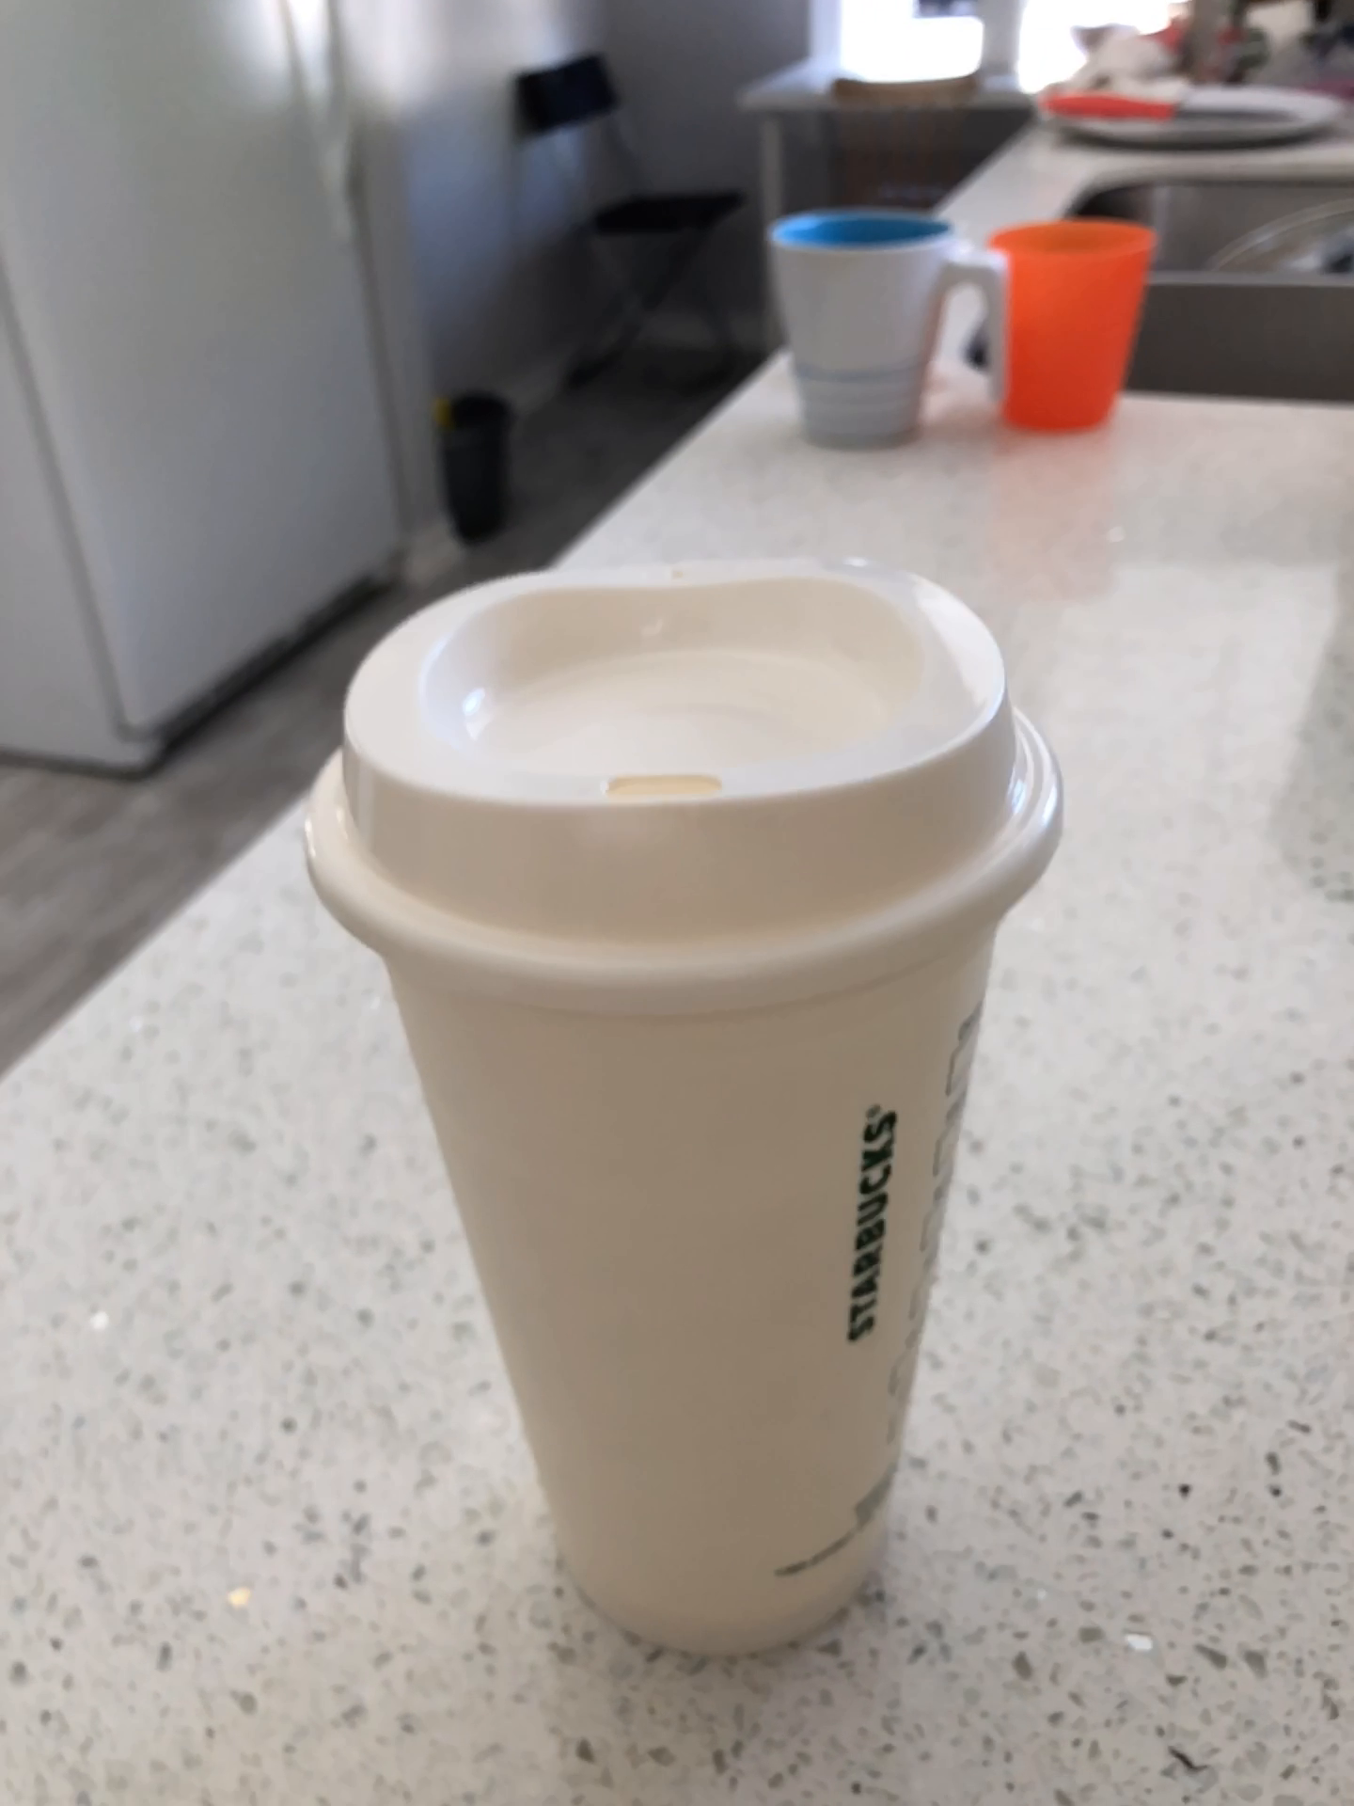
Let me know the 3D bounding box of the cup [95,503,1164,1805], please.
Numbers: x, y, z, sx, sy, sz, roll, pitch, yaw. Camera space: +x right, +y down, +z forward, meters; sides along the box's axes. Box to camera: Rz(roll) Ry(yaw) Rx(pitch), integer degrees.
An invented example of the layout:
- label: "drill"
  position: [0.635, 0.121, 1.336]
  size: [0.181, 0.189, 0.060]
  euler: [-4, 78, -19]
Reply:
- label: "cup"
  position: [0.003, 0.032, 0.212]
  size: [0.090, 0.139, 0.090]
  euler: [-3, 33, 2]
